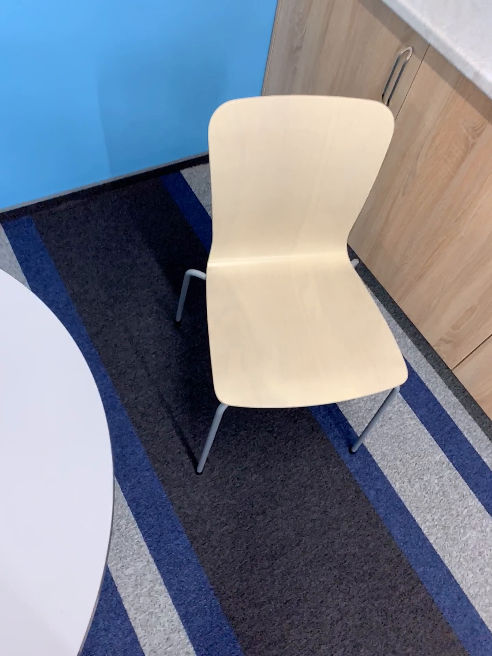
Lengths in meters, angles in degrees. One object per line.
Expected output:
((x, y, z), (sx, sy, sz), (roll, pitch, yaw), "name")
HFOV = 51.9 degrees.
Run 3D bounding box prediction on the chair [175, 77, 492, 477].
((0.096, -0.058, 1.266), (0.476, 0.837, 0.572), (-4, 59, -12), "chair")
